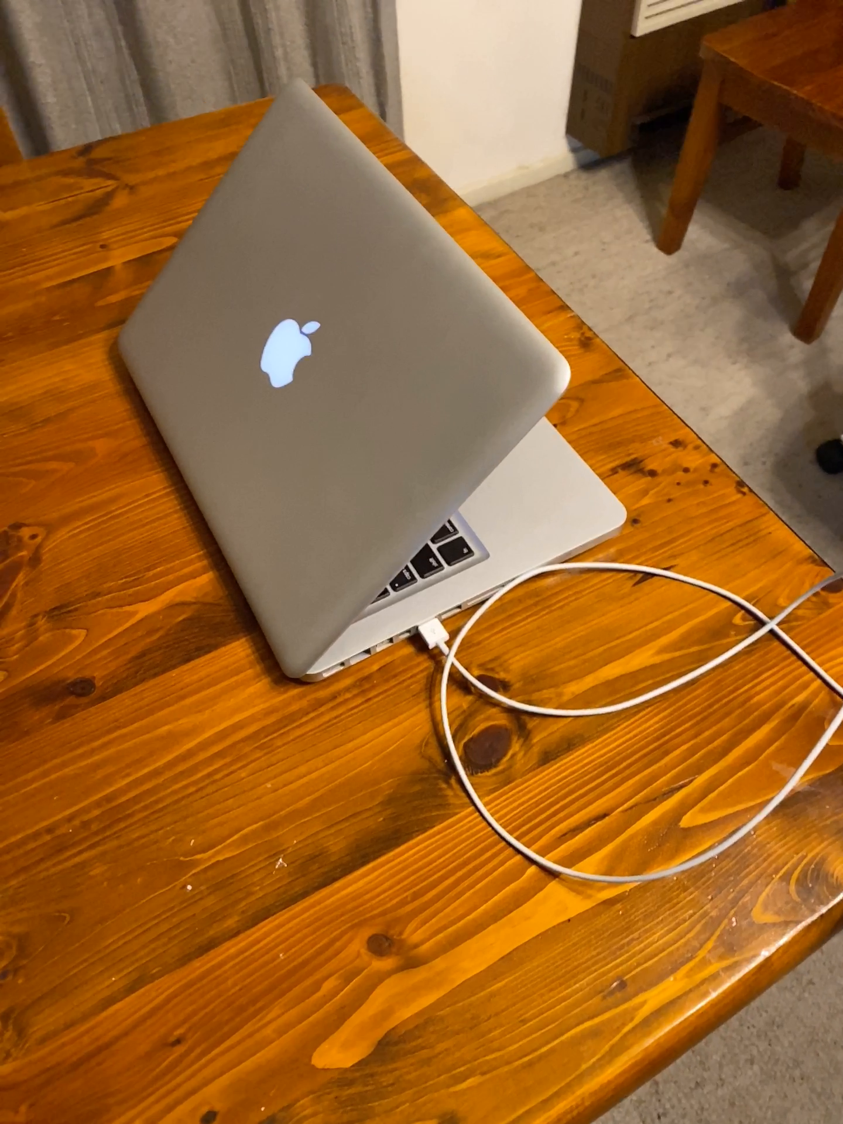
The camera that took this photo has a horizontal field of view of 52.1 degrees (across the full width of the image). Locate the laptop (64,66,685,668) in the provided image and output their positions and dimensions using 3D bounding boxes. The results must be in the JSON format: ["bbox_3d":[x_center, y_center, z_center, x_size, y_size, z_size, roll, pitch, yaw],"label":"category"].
[{"bbox_3d":[-0.042,-0.135,0.513,0.211,0.136,0.311,-24,58,-16],"label":"laptop"}]
